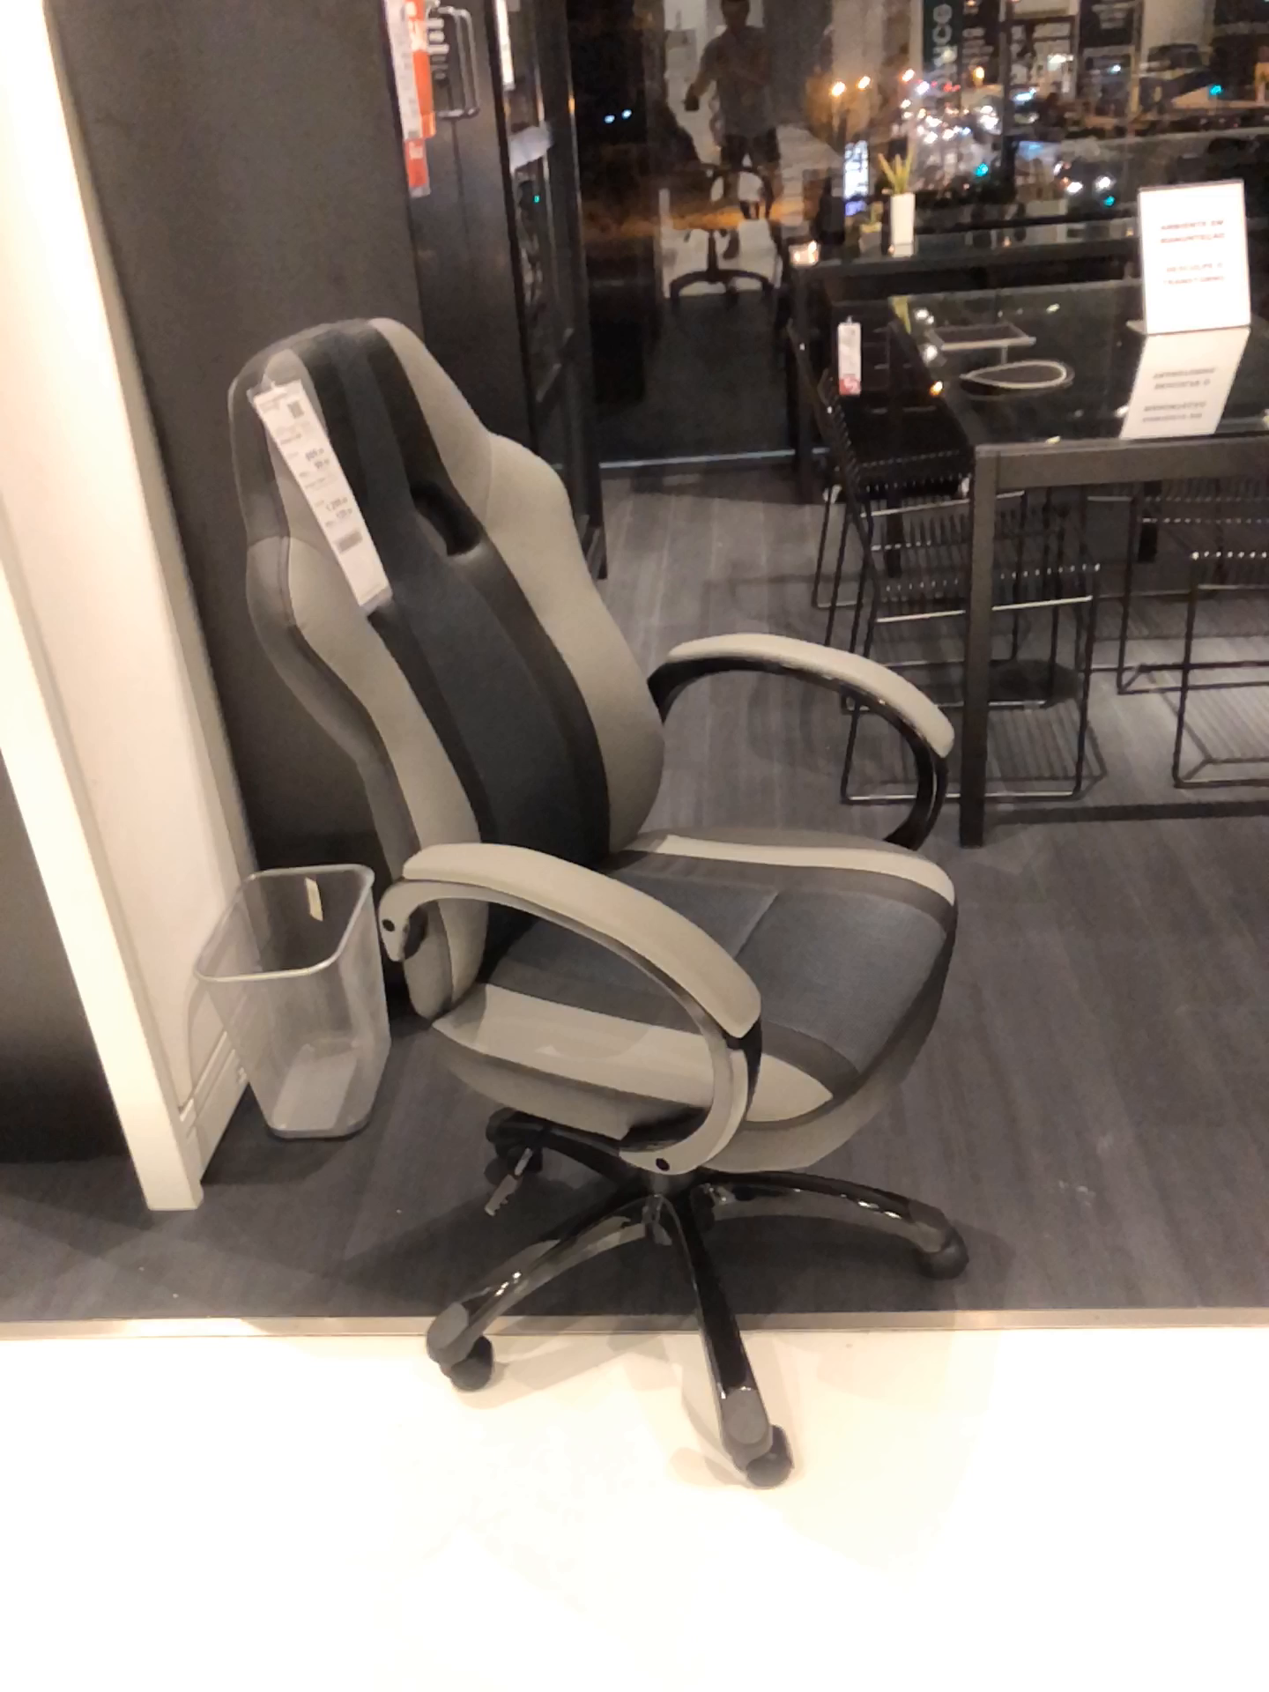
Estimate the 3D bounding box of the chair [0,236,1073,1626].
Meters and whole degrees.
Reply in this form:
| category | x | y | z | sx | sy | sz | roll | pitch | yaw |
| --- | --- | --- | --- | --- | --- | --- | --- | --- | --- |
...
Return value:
| category | x | y | z | sx | sy | sz | roll | pitch | yaw |
| --- | --- | --- | --- | --- | --- | --- | --- | --- | --- |
| chair | -0.042 | 0.019 | 1.531 | 0.781 | 1.161 | 0.714 | 11 | 33 | 28 |
